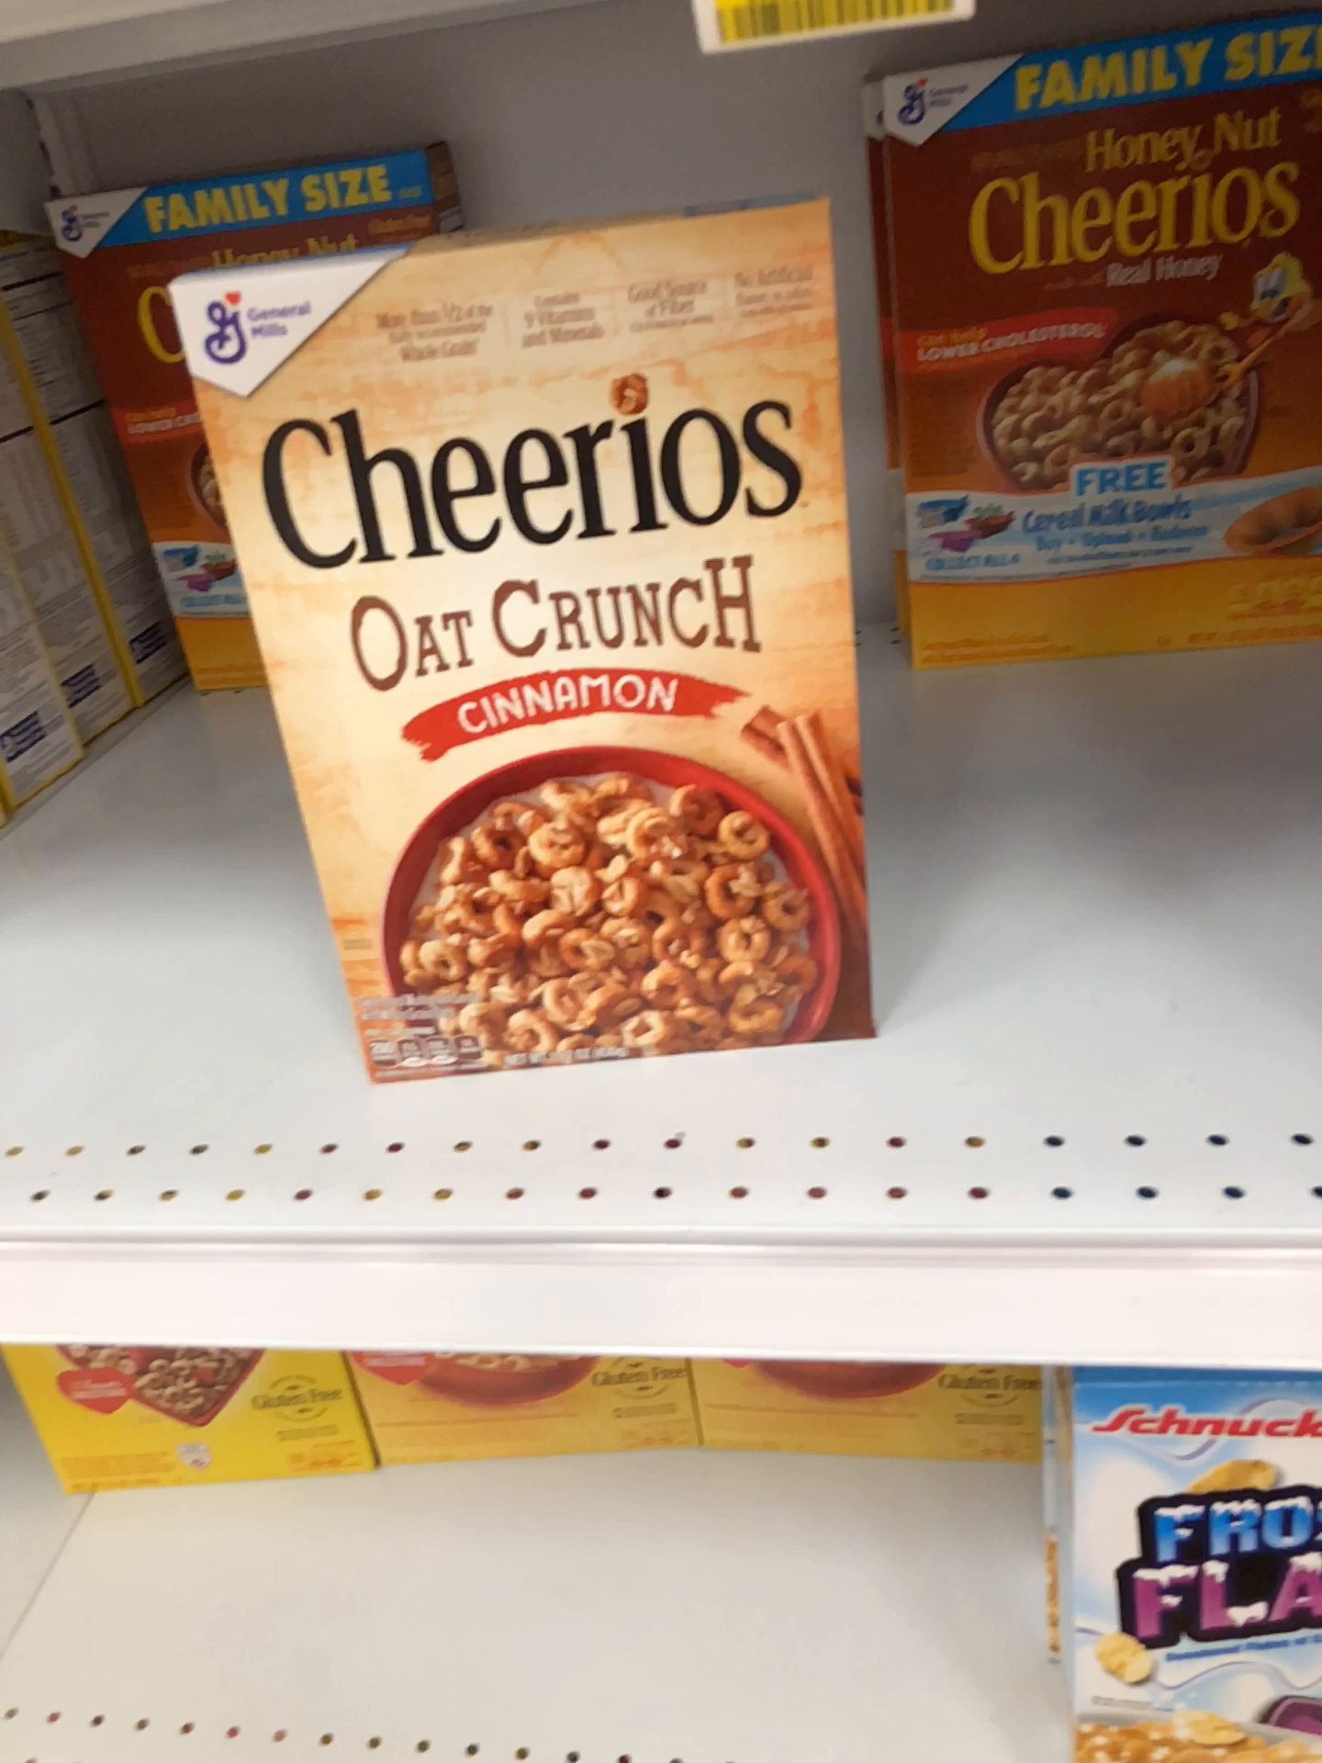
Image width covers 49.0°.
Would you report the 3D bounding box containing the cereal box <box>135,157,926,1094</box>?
[{"bbox_3d":[-0.024,-0.065,0.474,0.200,0.279,0.050,-6,29,6],"label":"cereal box"}]
